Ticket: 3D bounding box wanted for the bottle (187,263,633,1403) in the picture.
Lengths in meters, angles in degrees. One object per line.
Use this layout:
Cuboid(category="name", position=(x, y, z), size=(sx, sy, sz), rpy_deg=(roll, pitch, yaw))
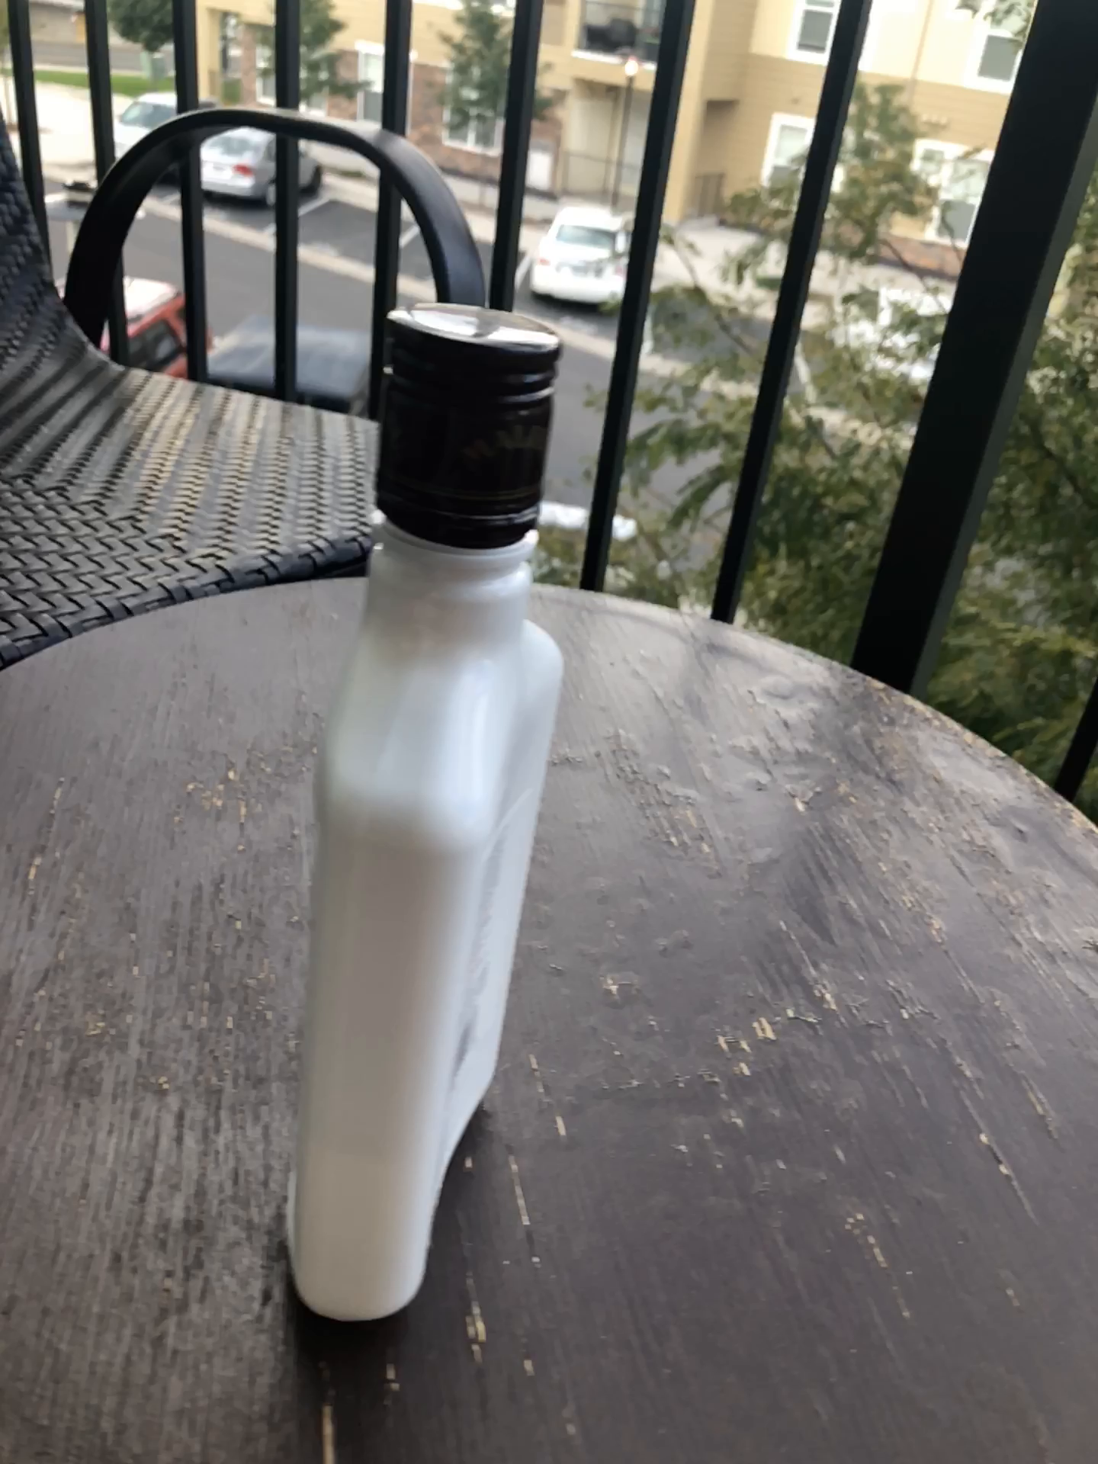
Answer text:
Cuboid(category="bottle", position=(-0.027, 0.025, 0.251), size=(0.045, 0.210, 0.101), rpy_deg=(11, 31, 6))
